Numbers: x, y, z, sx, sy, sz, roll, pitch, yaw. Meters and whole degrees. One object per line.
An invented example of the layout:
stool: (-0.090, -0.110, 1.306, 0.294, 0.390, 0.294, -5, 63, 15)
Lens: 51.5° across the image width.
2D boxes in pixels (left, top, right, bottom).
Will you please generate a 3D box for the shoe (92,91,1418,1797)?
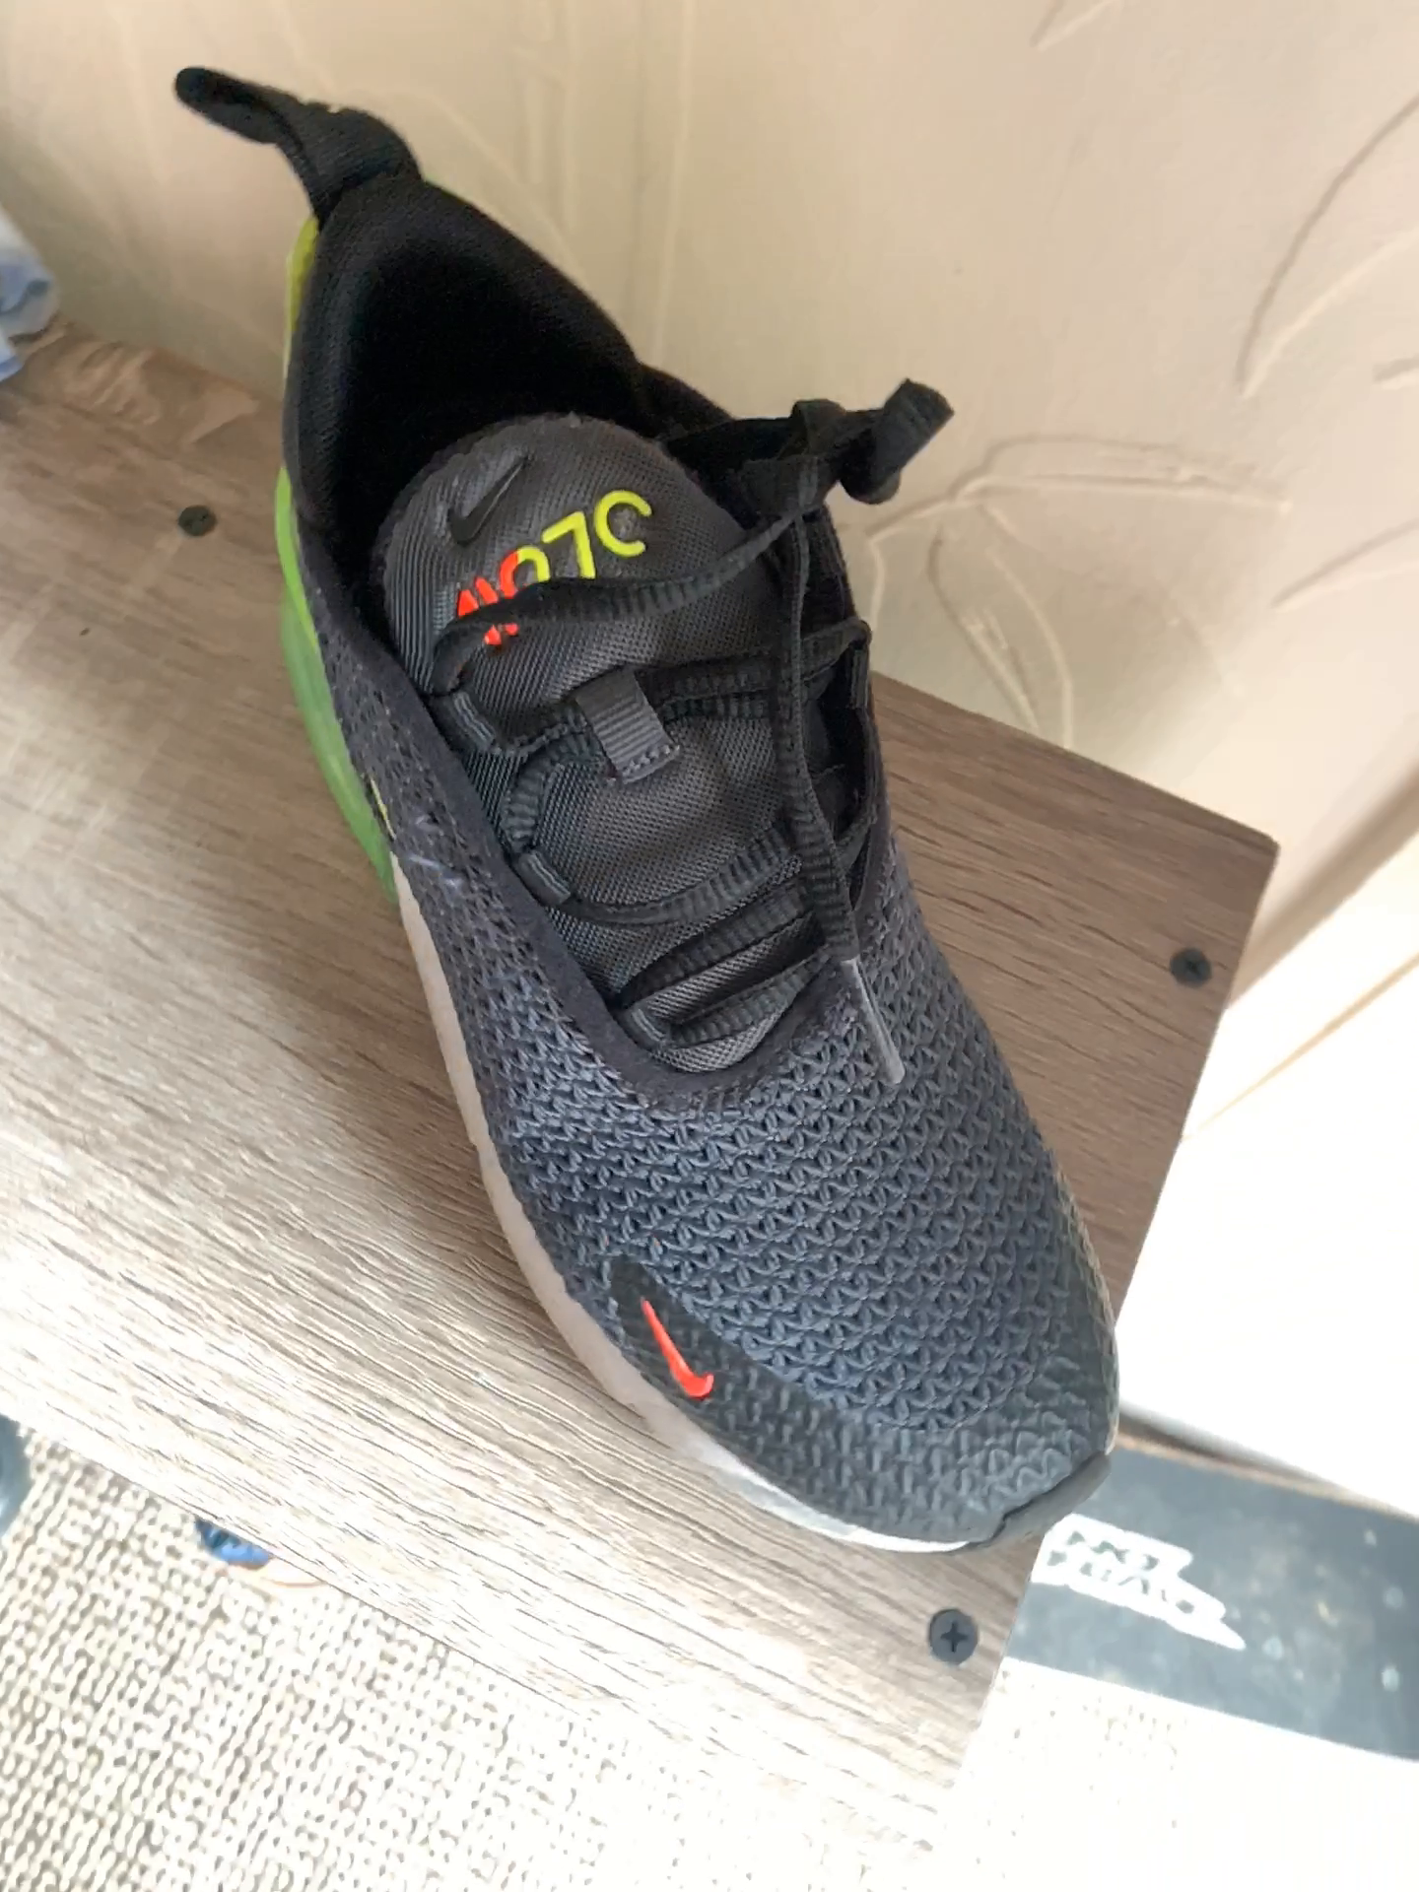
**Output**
shoe: (-0.002, -0.008, 0.256, 0.090, 0.109, 0.248, -26, 71, -16)
